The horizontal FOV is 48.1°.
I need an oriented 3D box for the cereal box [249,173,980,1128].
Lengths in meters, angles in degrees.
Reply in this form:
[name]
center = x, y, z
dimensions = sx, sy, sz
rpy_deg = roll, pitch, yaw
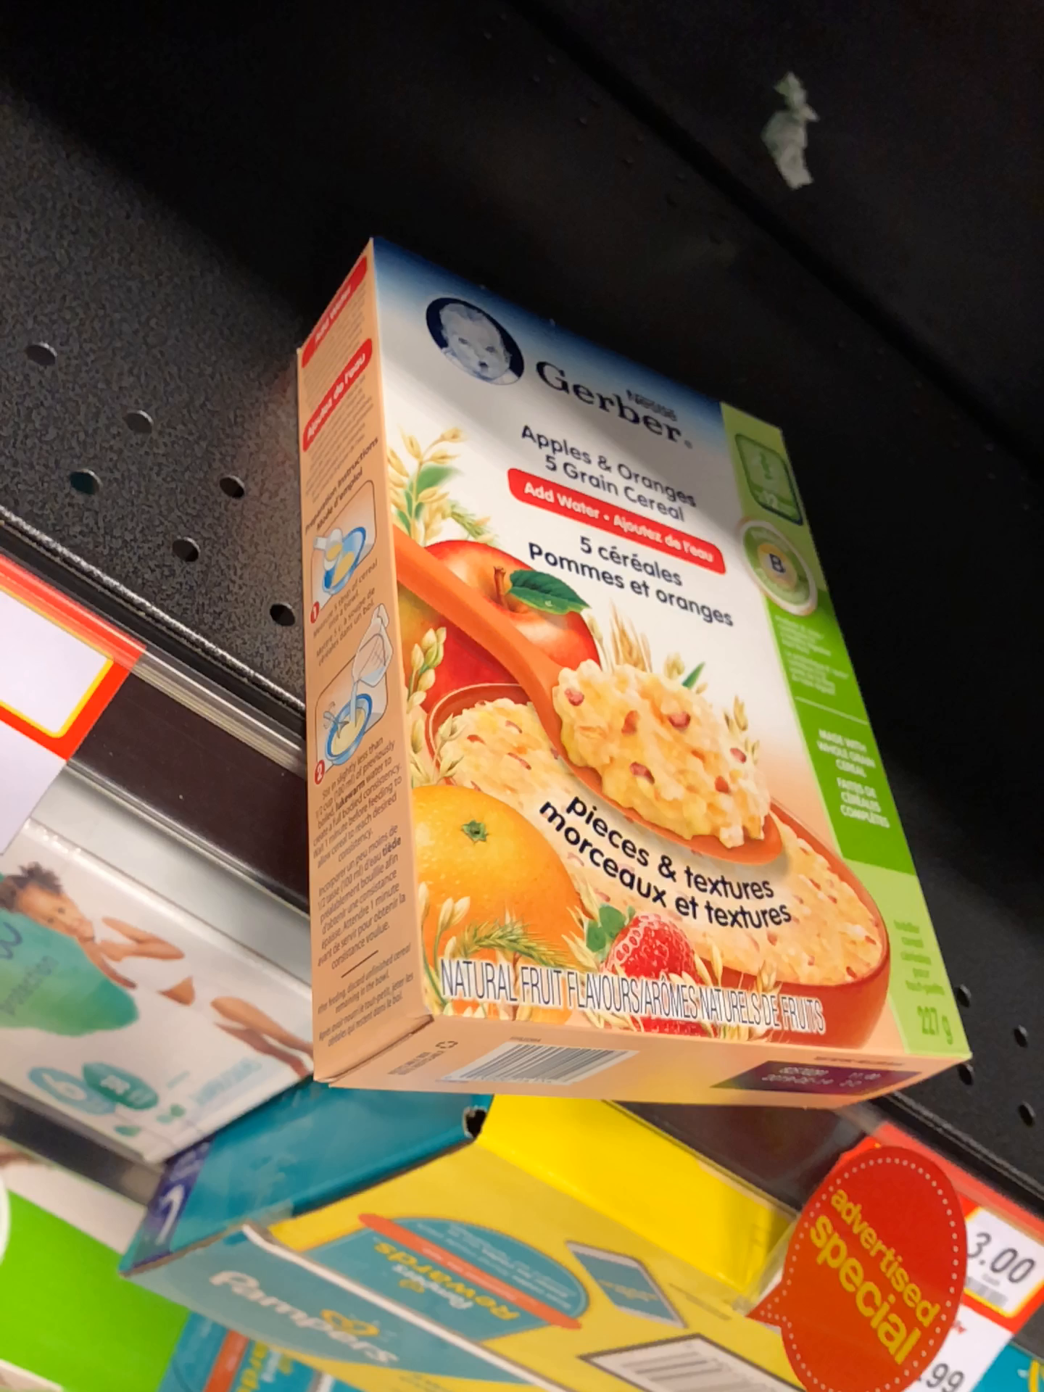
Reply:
[cereal box]
center = 0.016, -0.010, 0.290
dimensions = 0.151, 0.050, 0.210
rpy_deg = 15, 53, -32
